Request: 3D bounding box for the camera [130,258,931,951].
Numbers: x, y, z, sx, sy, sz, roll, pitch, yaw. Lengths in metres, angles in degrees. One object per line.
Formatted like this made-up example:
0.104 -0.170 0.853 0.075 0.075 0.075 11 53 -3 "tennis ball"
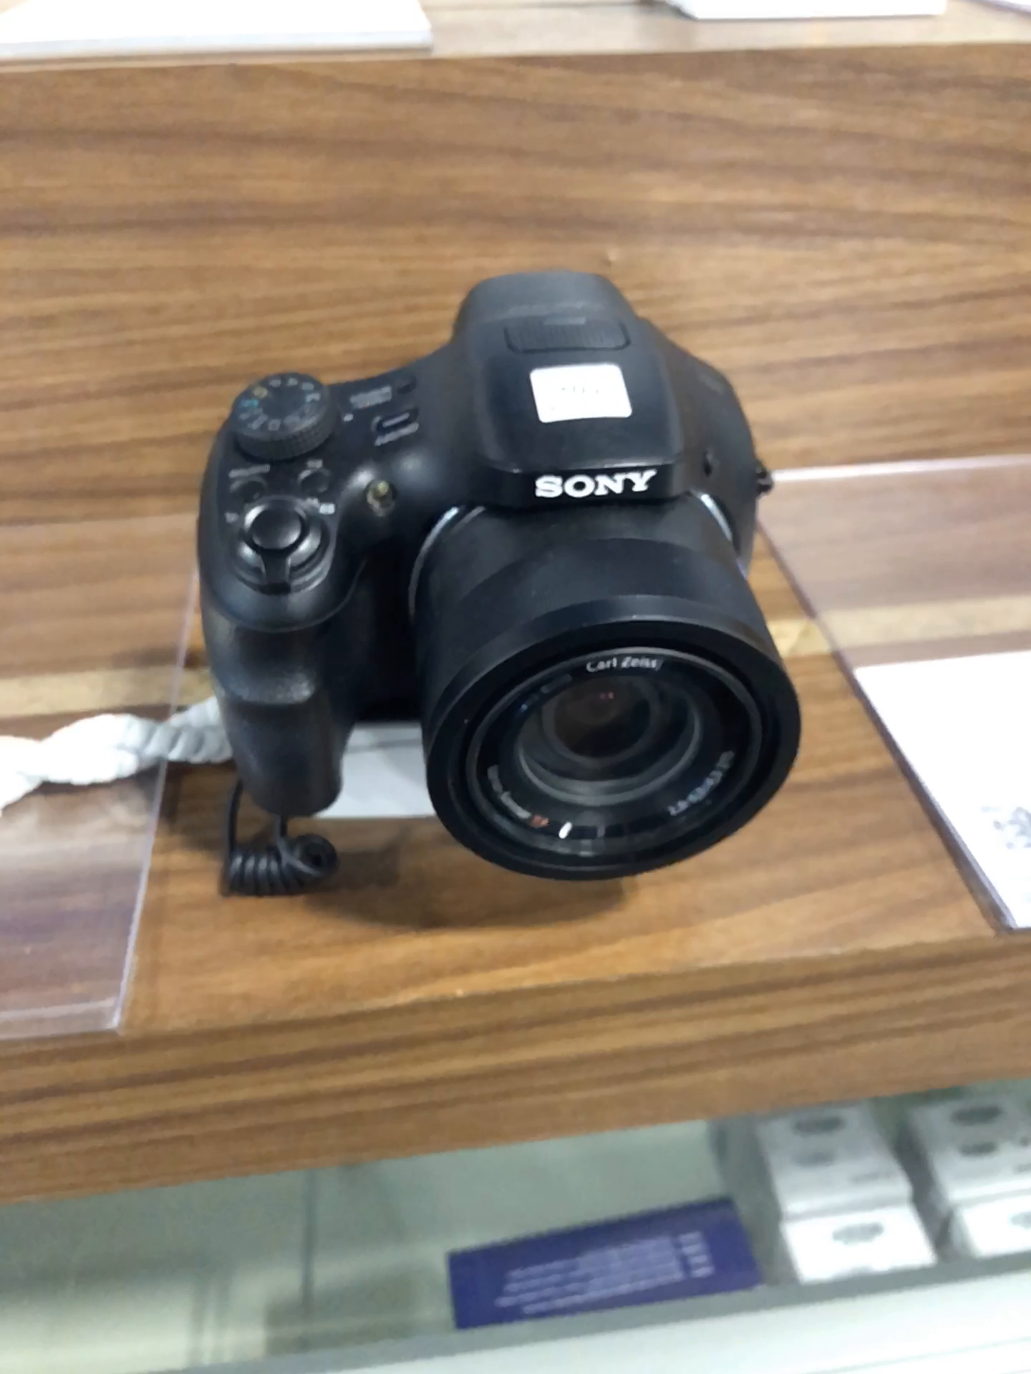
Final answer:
-0.004 -0.024 0.260 0.130 0.089 0.121 -5 43 -6 "camera"
